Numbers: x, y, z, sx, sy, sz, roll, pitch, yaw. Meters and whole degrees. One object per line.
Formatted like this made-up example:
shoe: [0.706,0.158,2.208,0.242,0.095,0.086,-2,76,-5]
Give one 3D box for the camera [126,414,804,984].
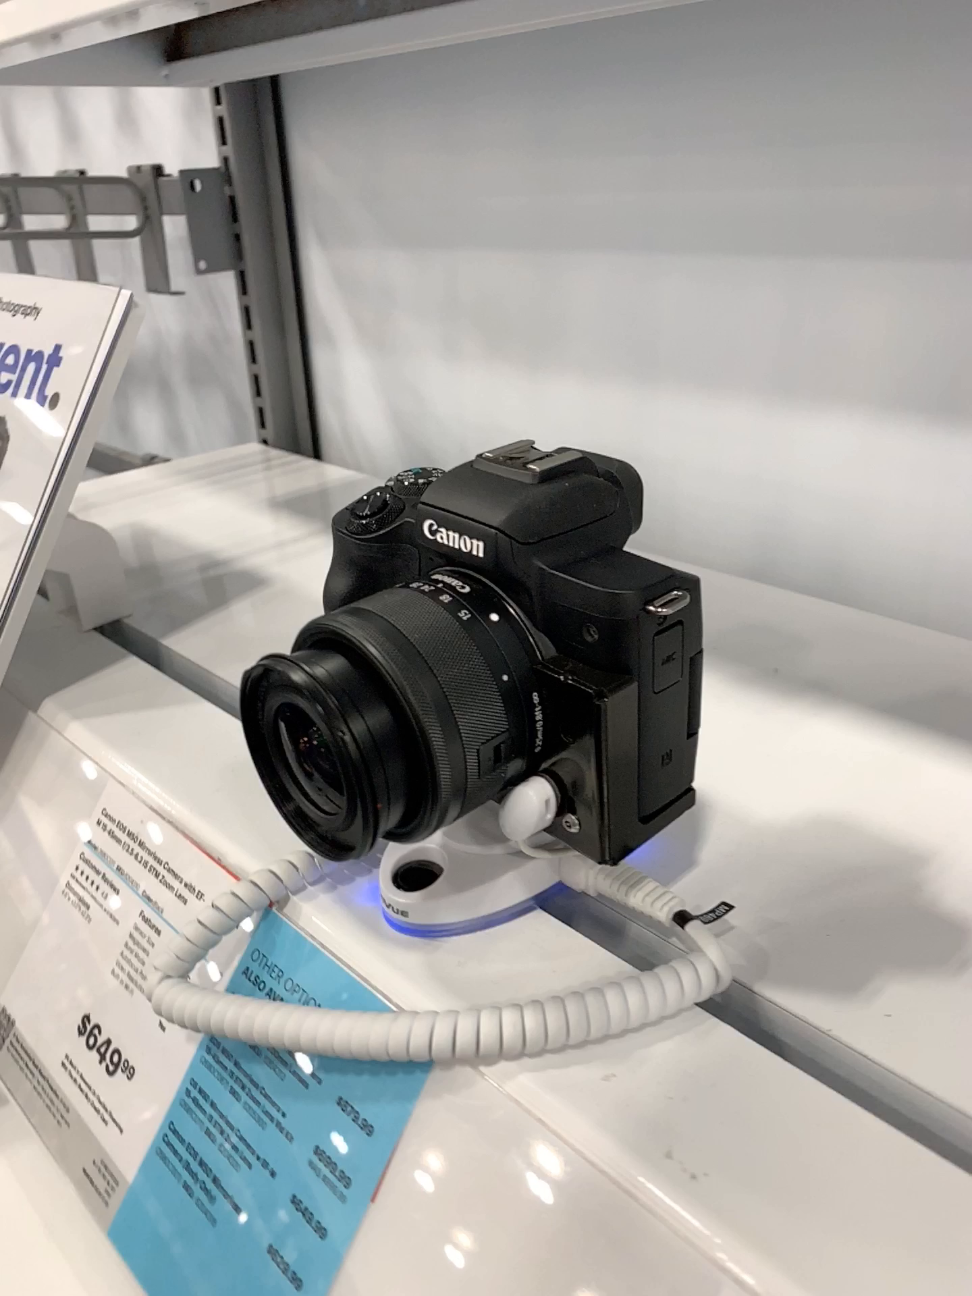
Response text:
camera: [-0.007,-0.004,0.267,0.110,0.080,0.130,-24,32,-37]
